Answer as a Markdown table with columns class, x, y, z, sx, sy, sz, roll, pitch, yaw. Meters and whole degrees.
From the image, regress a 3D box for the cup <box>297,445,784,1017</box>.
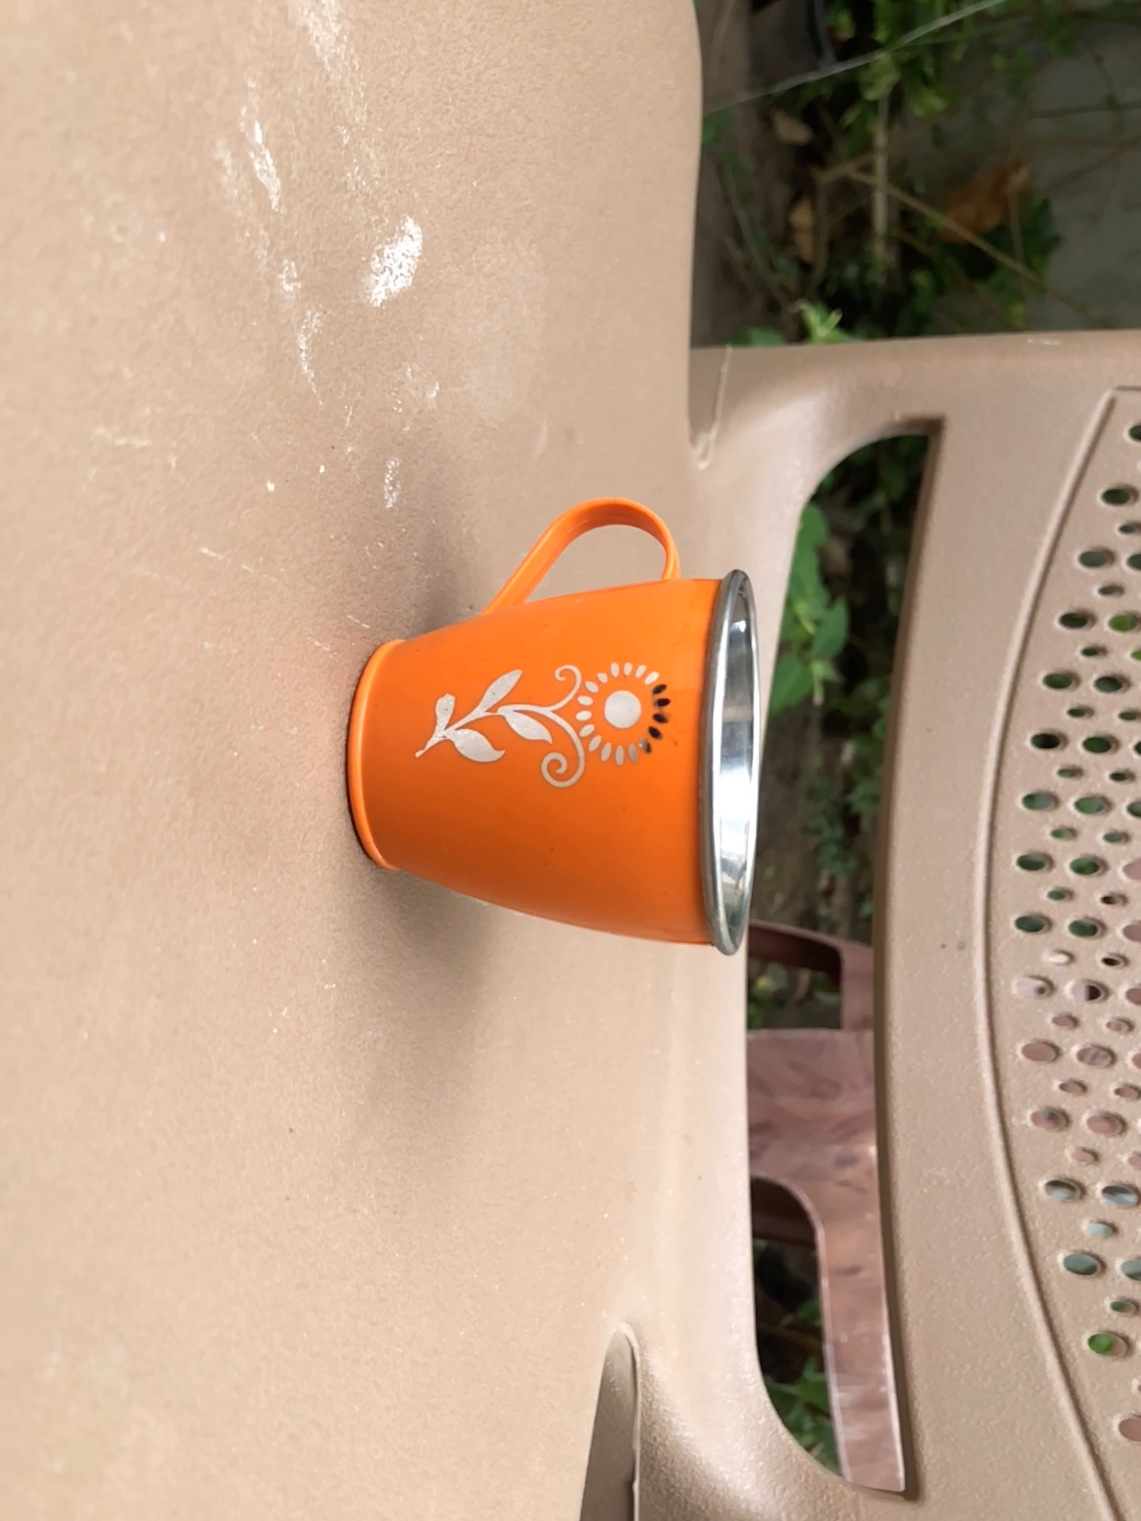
| class | x | y | z | sx | sy | sz | roll | pitch | yaw |
| --- | --- | --- | --- | --- | --- | --- | --- | --- | --- |
| cup | -0.001 | -0.002 | 0.209 | 0.050 | 0.060 | 0.080 | 24 | 69 | -69 |
